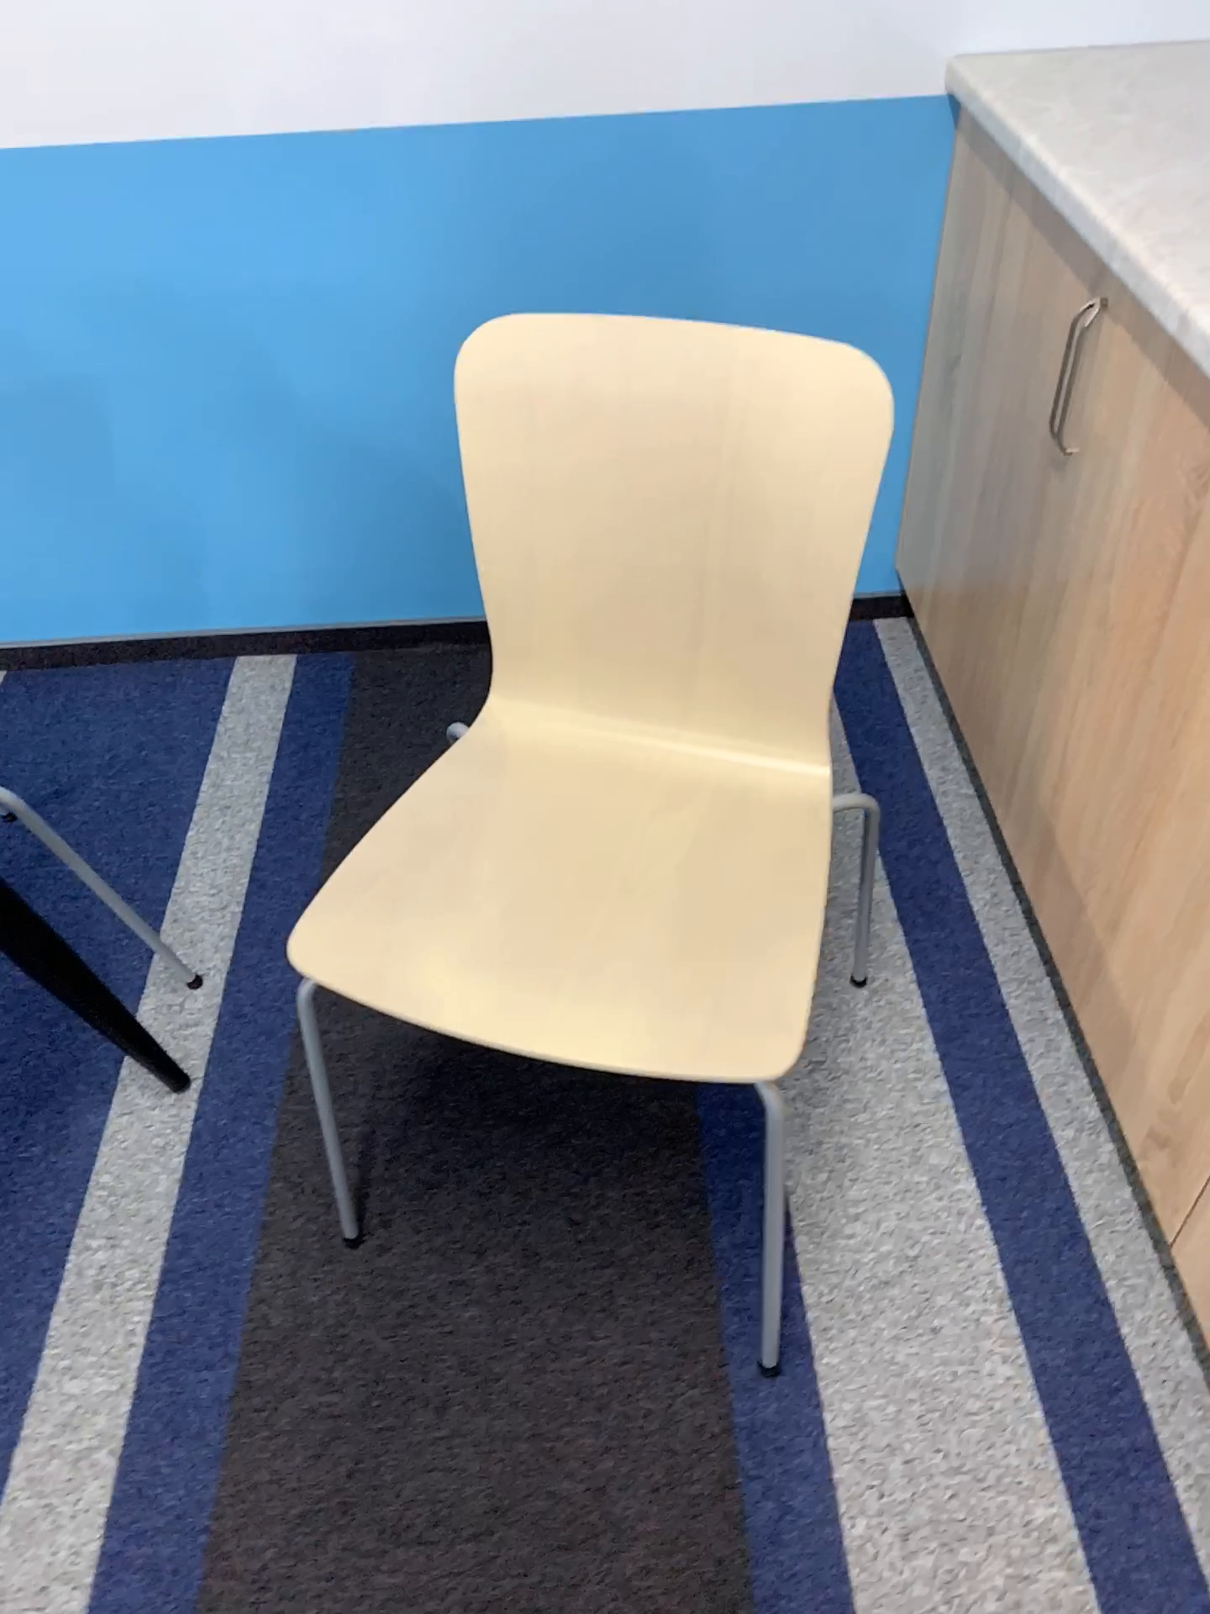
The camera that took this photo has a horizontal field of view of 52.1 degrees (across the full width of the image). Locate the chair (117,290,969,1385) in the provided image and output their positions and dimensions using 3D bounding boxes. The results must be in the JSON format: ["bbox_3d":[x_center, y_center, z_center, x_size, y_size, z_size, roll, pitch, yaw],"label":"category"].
[{"bbox_3d":[0.018,0.038,1.216,0.476,0.836,0.573,11,44,15],"label":"chair"}]
